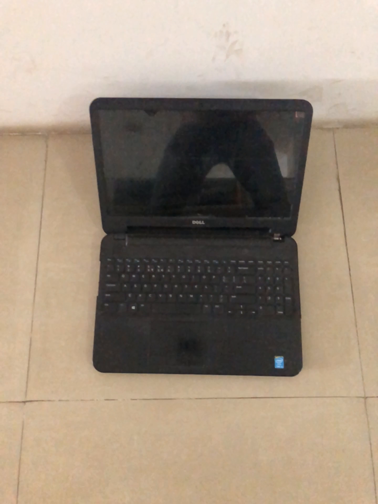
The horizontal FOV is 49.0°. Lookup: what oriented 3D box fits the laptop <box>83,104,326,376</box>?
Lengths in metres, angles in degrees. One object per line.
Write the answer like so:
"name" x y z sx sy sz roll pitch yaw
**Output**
"laptop" 0.023 -0.013 0.684 0.322 0.166 0.409 0 75 0
